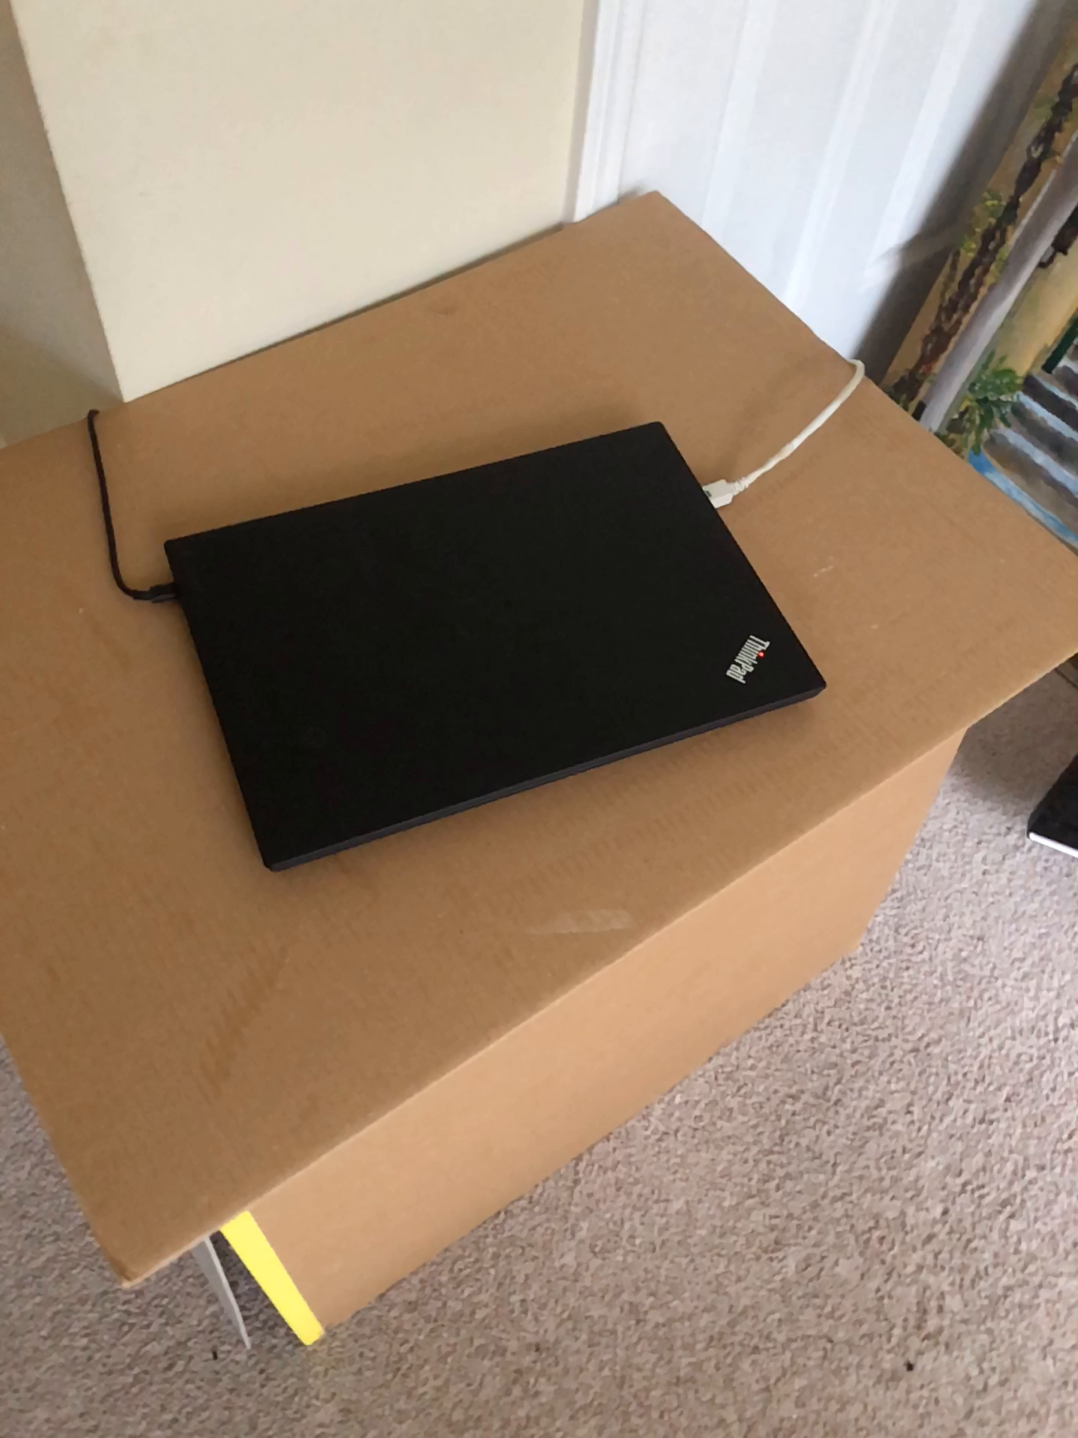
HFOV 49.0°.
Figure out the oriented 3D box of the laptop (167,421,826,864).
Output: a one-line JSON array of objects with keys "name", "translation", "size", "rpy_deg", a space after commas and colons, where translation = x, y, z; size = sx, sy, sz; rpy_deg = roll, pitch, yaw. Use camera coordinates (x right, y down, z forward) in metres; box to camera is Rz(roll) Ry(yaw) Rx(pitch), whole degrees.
[{"name": "laptop", "translation": [-0.027, -0.064, 0.689], "size": [0.327, 0.002, 0.225], "rpy_deg": [-17, 59, -16]}]
